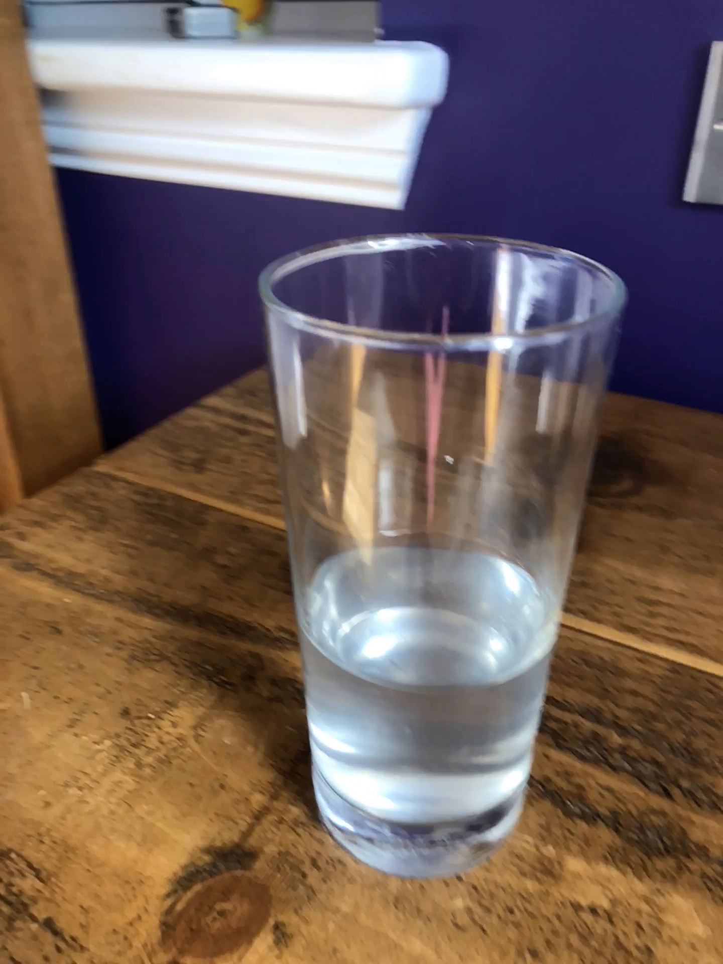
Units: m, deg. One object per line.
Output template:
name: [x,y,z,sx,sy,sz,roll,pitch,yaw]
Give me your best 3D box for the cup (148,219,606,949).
cup: [0.010,0.023,0.201,0.074,0.152,0.078,0,29,0]
